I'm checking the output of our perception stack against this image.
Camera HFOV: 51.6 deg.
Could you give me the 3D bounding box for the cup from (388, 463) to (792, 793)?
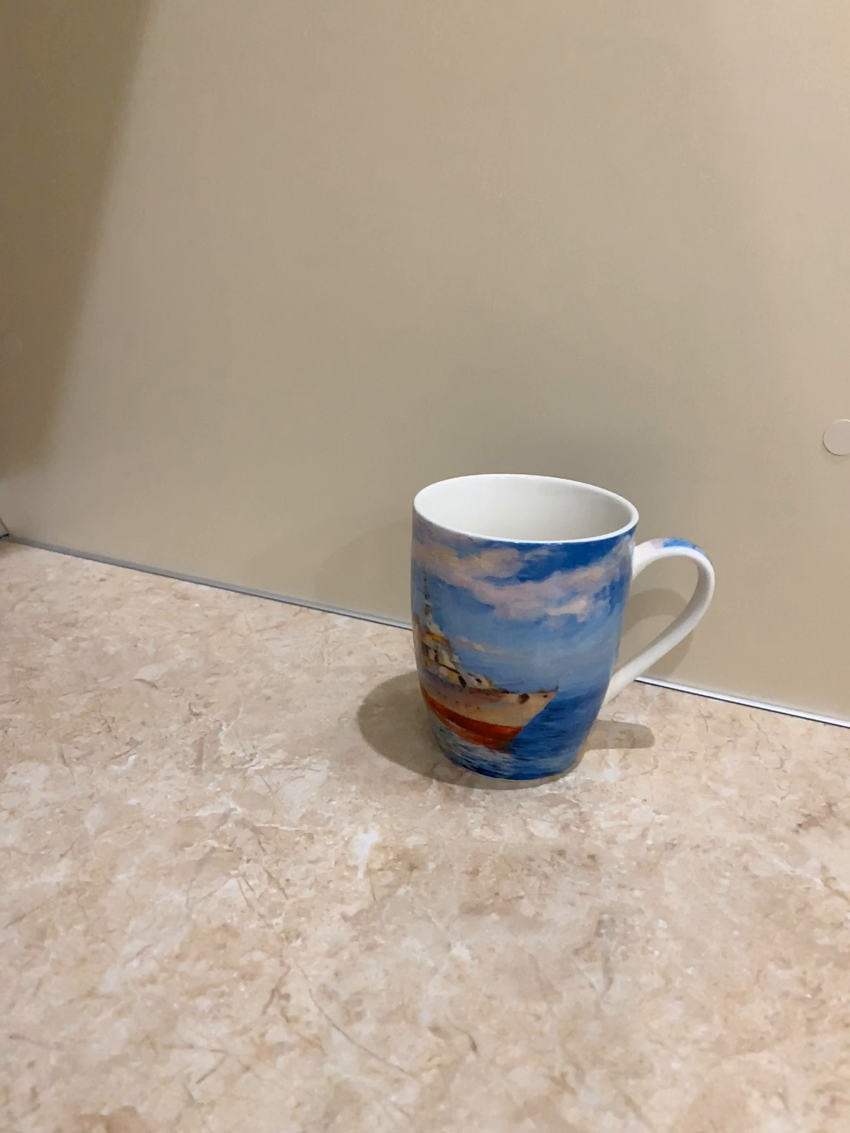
[{"bbox_3d":[0.051,0.016,0.322,0.114,0.087,0.083,-2,22,-12],"label":"cup"}]
